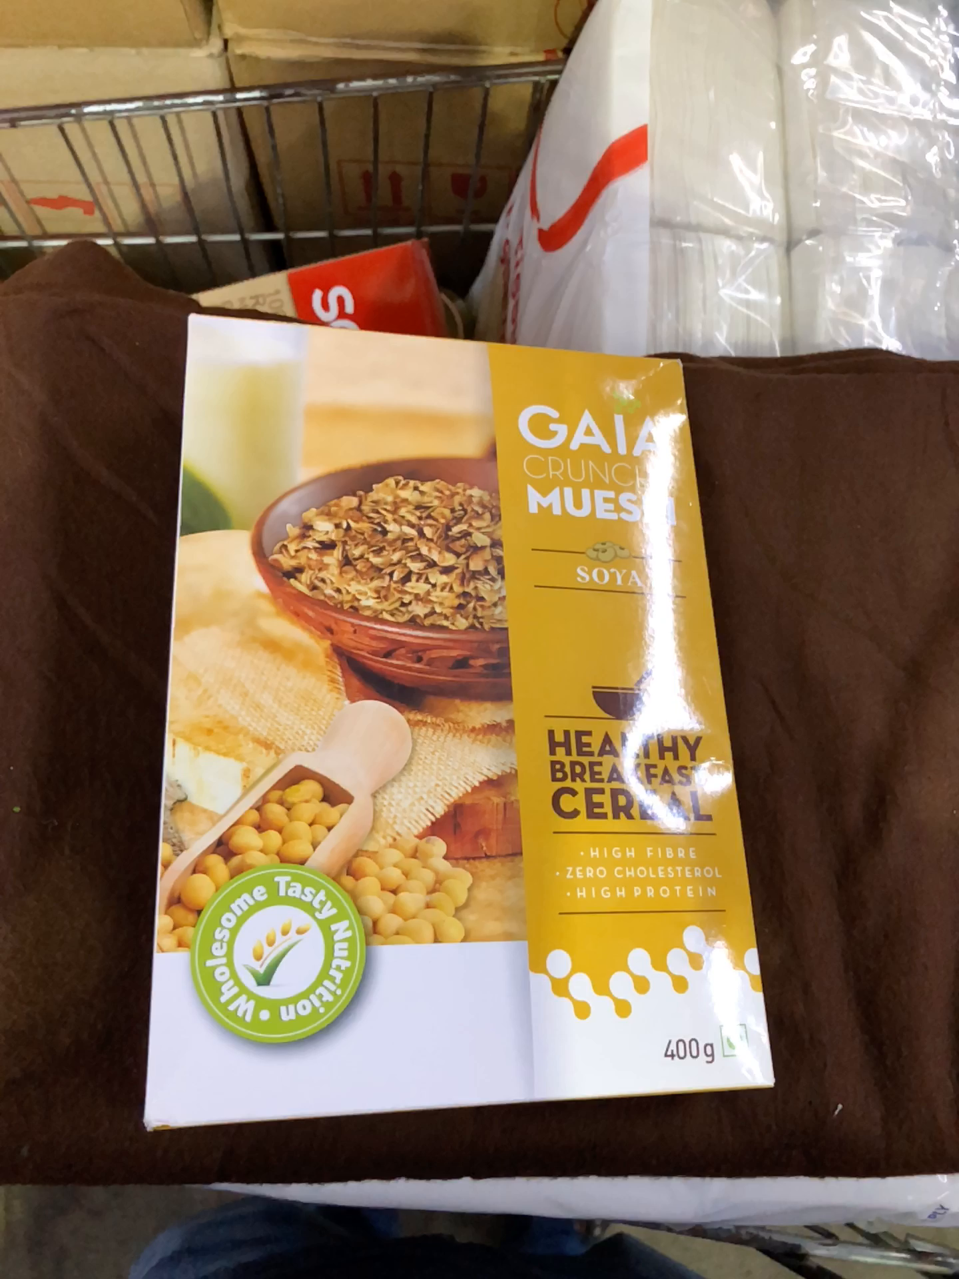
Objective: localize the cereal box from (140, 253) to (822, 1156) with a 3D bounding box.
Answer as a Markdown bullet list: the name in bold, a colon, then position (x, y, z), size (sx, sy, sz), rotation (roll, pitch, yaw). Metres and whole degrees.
- **cereal box**: position (-0.005, 0.013, 0.323), size (0.170, 0.060, 0.240), rotation (2, 72, -13)
